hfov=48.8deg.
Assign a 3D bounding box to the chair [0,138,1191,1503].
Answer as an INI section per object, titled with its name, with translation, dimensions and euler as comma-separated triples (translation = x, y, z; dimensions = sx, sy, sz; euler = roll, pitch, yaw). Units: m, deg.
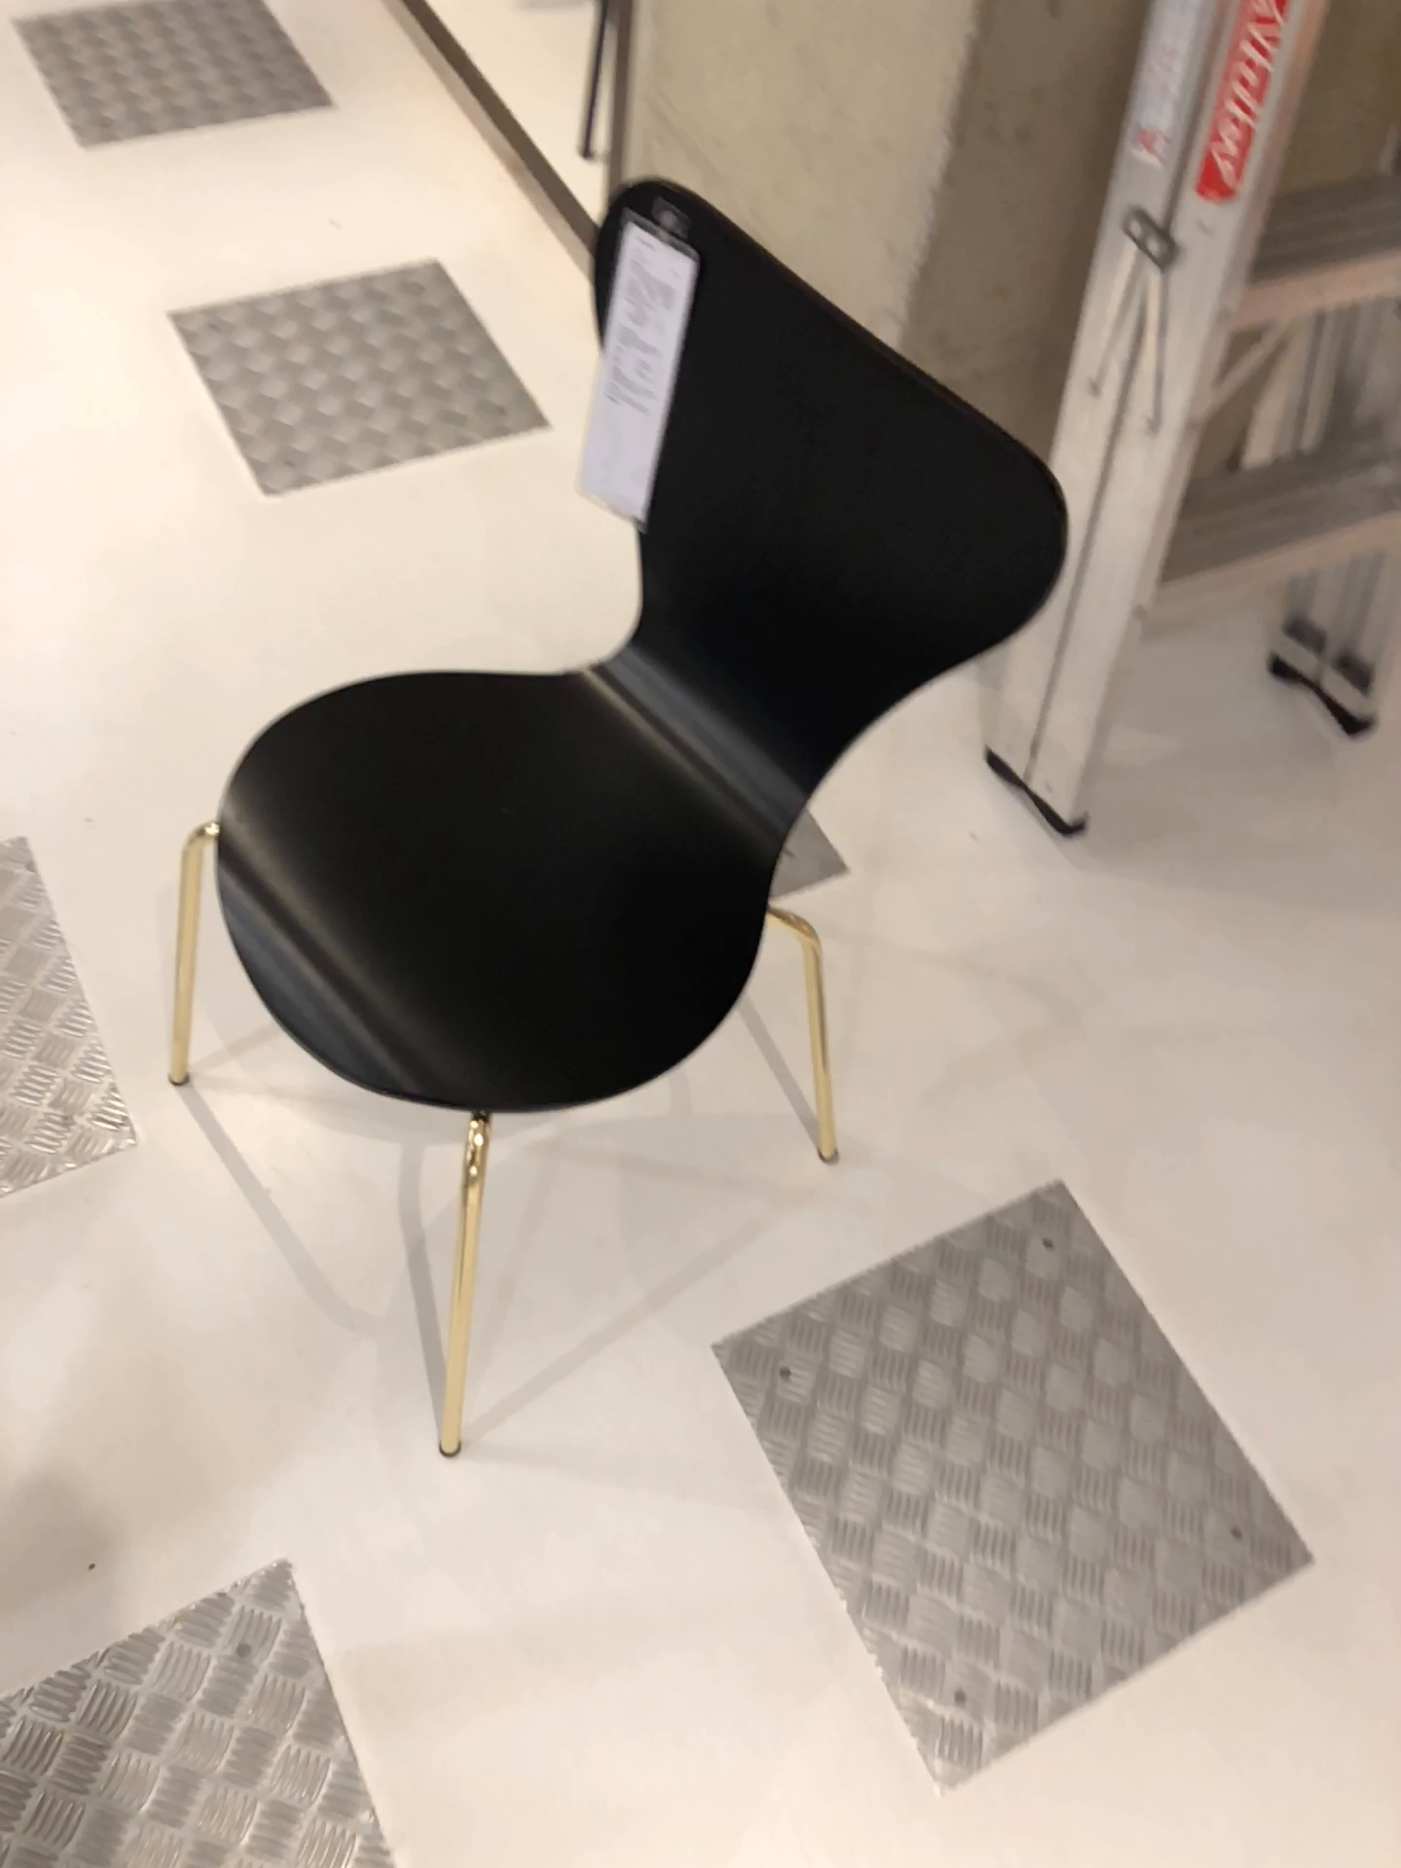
[chair]
translation = -0.127, -0.038, 1.190
dimensions = 0.542, 0.776, 0.511
euler = -32, 66, -25
